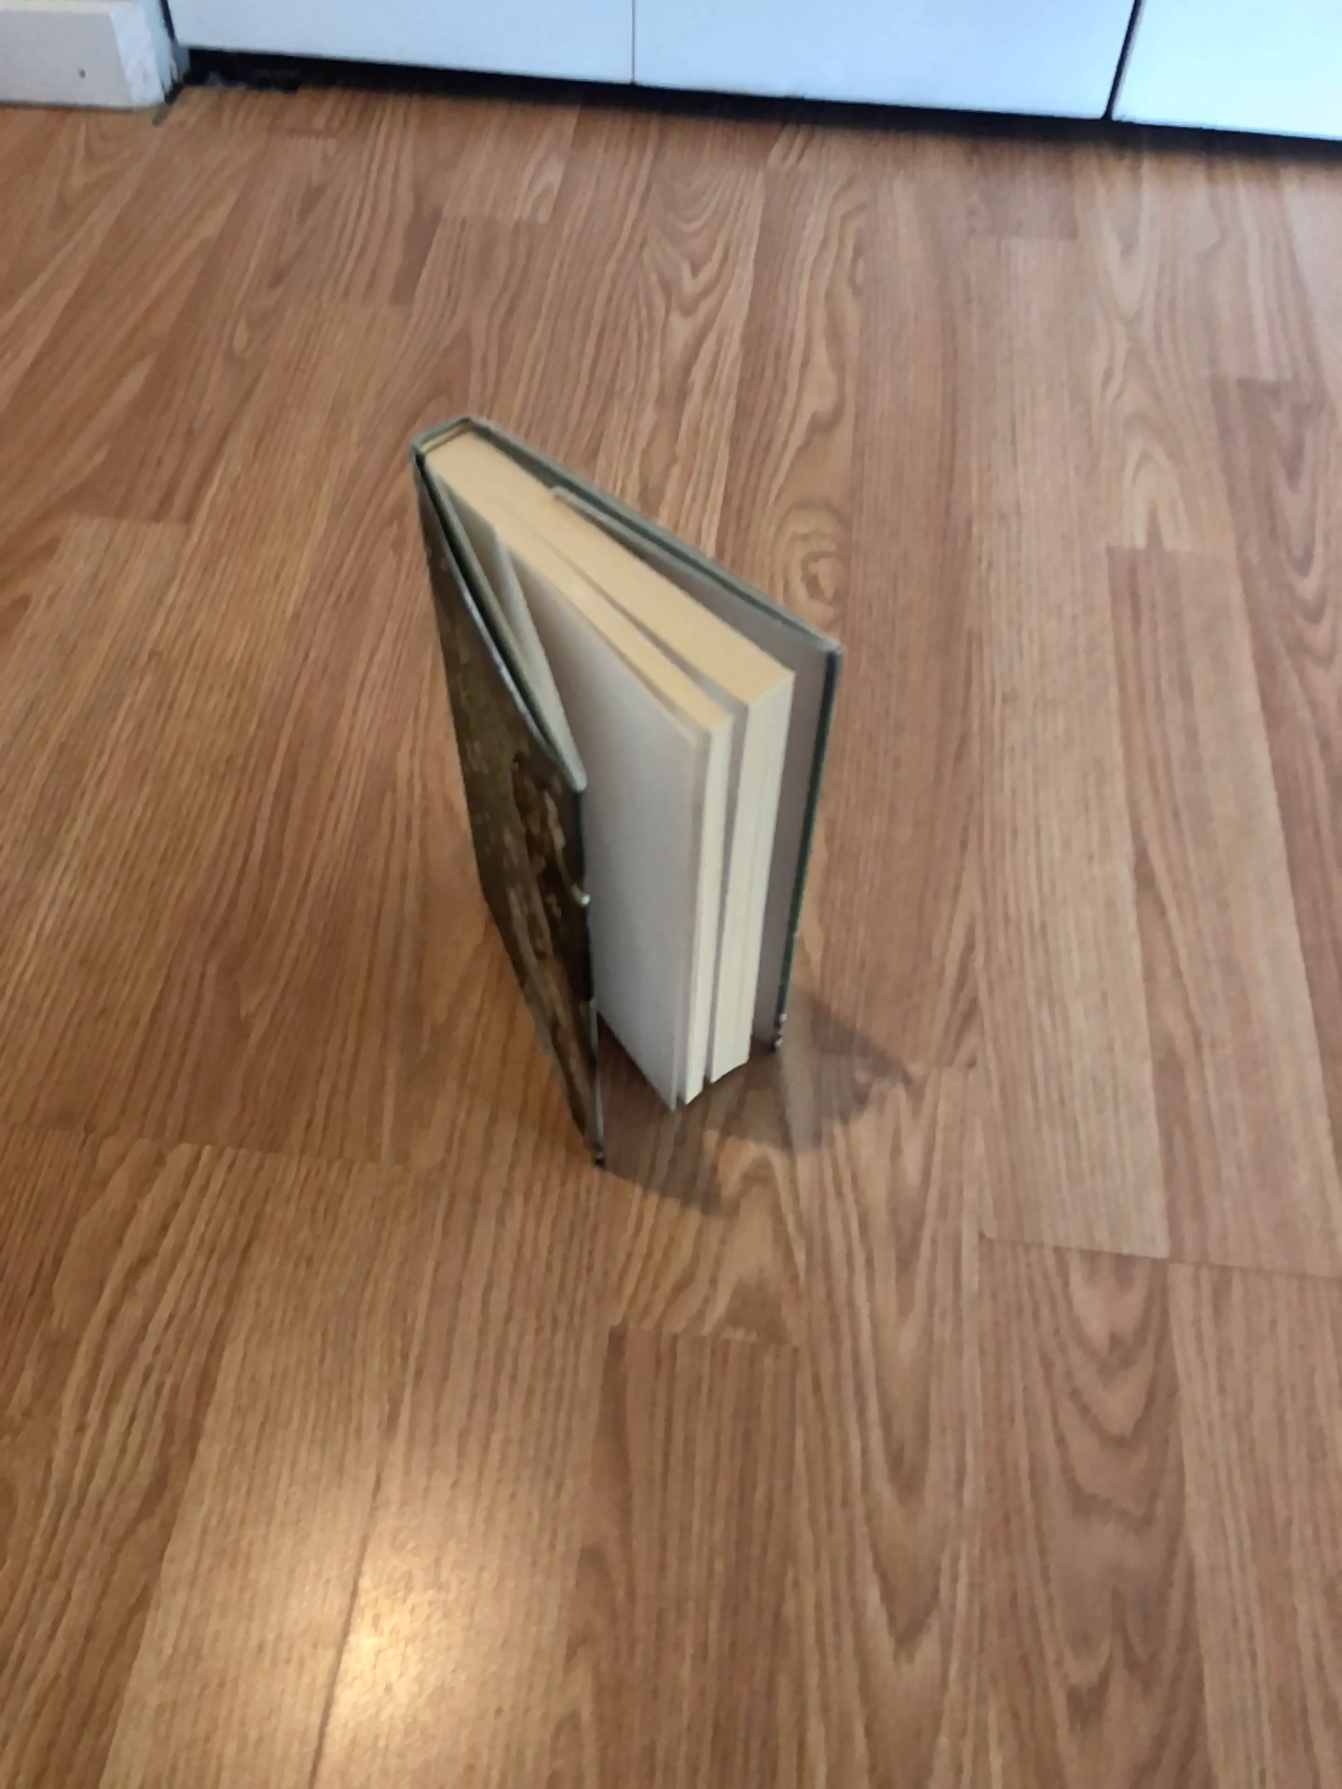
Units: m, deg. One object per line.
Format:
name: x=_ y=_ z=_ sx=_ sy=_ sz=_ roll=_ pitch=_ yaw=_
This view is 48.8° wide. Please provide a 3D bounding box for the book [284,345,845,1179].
book: x=-0.033 y=-0.031 z=0.481 sx=0.080 sy=0.220 sz=0.150 roll=-30 pitch=61 yaw=-19
